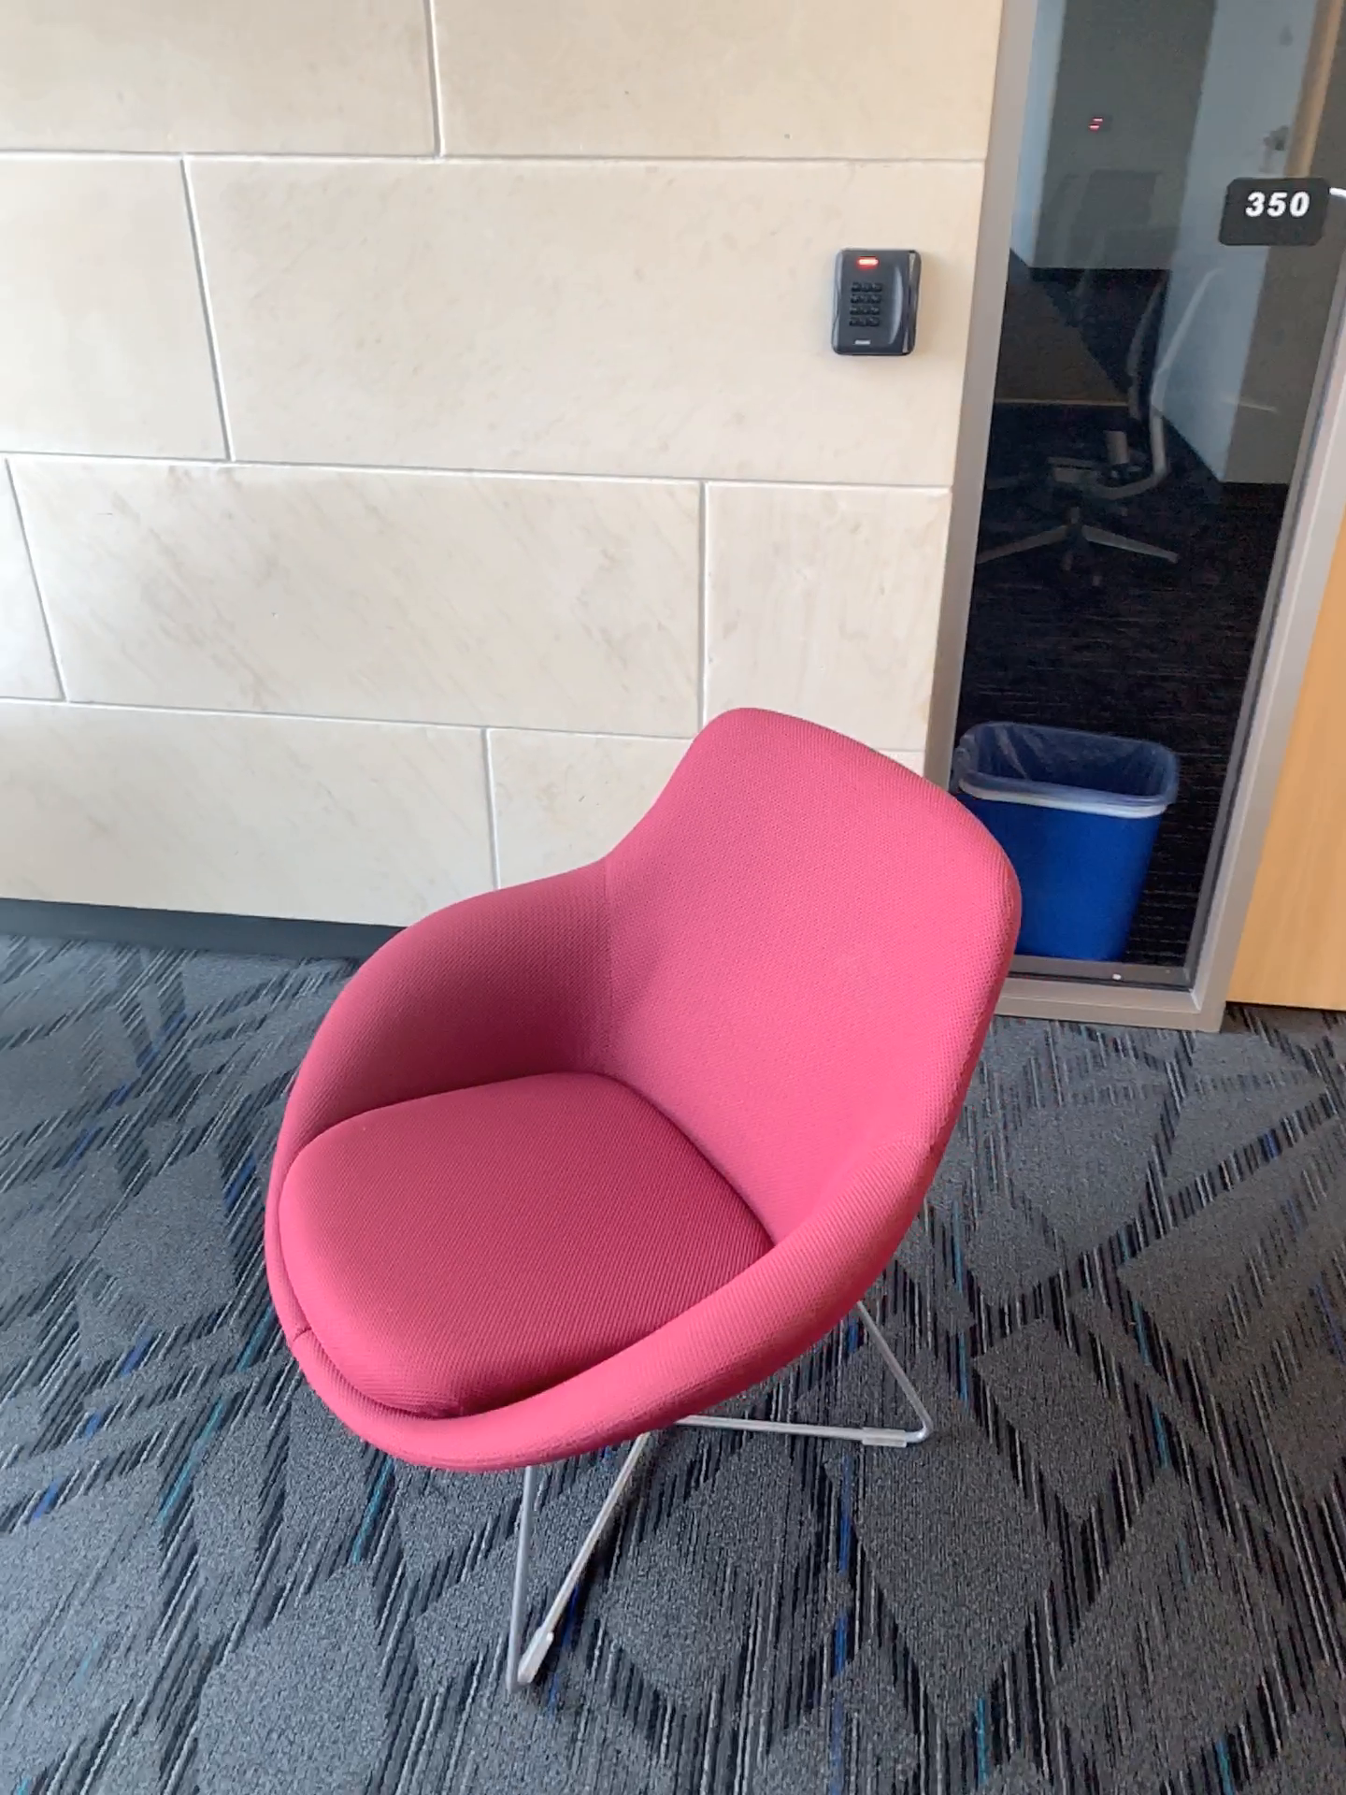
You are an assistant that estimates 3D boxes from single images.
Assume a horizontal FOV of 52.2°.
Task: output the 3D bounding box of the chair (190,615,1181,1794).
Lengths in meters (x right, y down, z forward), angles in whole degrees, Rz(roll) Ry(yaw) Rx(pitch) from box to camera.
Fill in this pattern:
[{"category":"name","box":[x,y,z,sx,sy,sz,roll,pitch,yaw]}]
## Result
[{"category":"chair","box":[-0.038,0.225,1.391,0.611,0.754,0.694,-15,33,-25]}]
